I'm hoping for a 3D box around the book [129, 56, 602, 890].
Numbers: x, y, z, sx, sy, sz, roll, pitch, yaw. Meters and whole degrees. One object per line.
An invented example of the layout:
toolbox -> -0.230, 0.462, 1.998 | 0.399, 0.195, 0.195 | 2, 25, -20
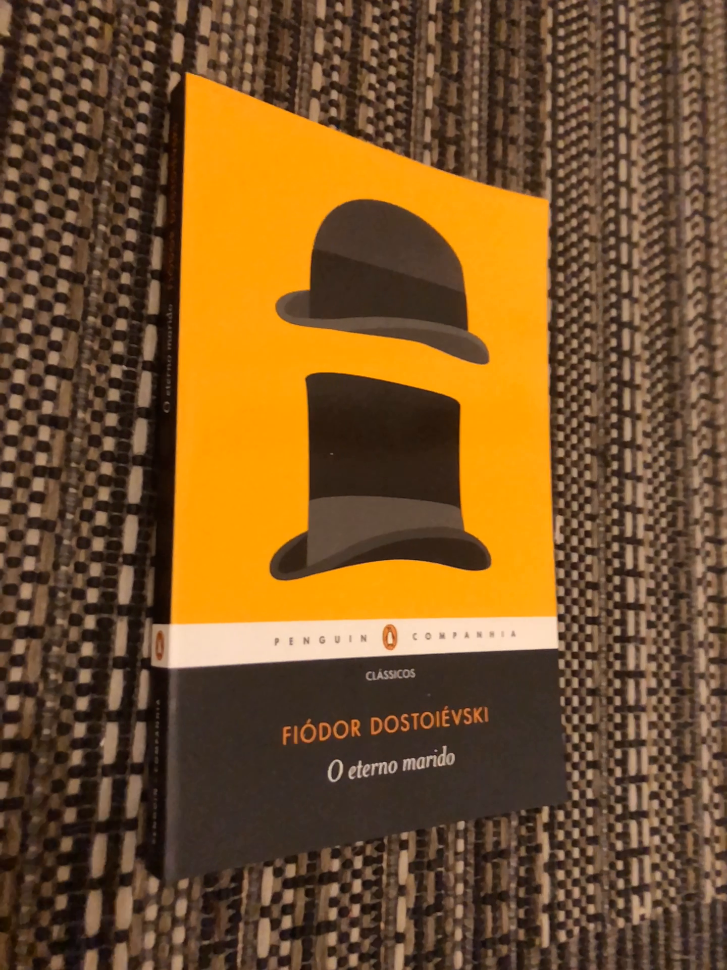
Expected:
book -> 0.008, -0.003, 0.217 | 0.131, 0.020, 0.180 | 6, 79, -34
